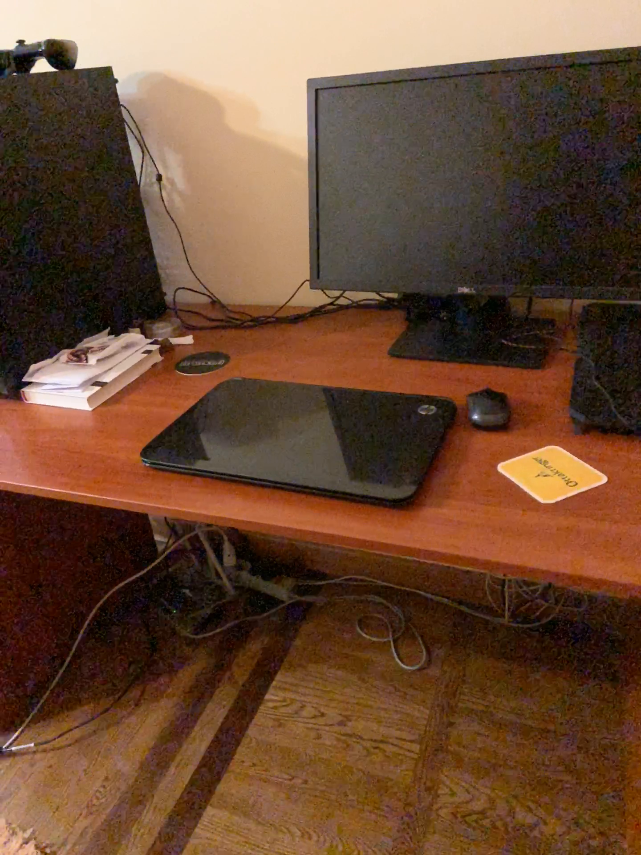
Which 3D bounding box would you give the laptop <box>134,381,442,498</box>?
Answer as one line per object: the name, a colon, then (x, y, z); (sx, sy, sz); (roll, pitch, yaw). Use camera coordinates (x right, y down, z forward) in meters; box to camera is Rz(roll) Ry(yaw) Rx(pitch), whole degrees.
laptop: (-0.042, 0.001, 0.925); (0.382, 0.001, 0.243); (6, 32, 24)
